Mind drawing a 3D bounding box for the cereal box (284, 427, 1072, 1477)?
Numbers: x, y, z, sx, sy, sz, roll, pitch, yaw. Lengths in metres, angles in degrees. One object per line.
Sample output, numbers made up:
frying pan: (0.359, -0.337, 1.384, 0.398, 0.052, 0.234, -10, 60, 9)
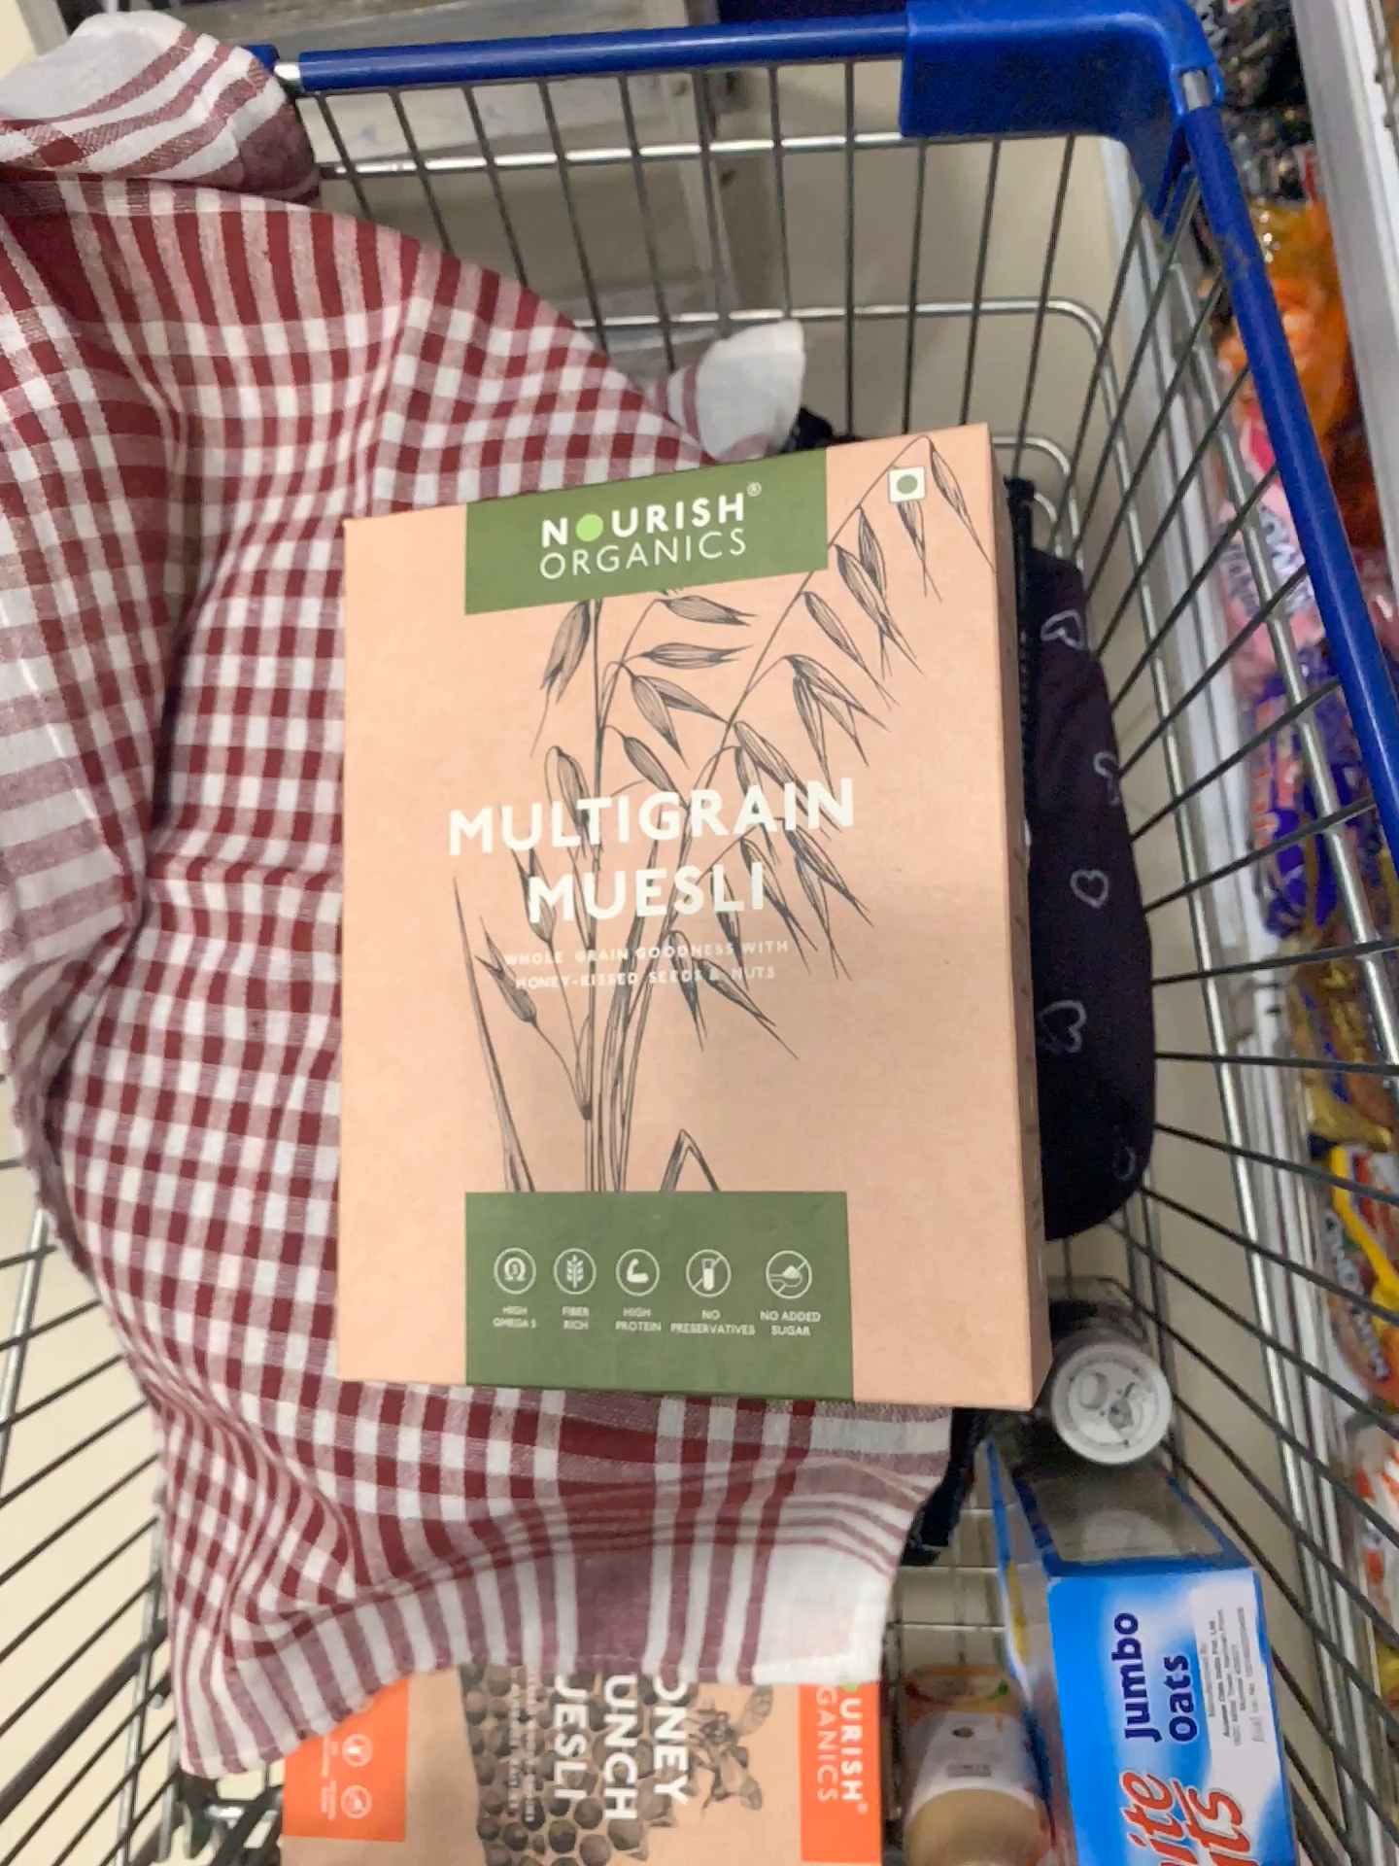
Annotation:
cereal box: (-0.006, 0.006, 0.320, 0.160, 0.050, 0.200, -3, 83, 16)
